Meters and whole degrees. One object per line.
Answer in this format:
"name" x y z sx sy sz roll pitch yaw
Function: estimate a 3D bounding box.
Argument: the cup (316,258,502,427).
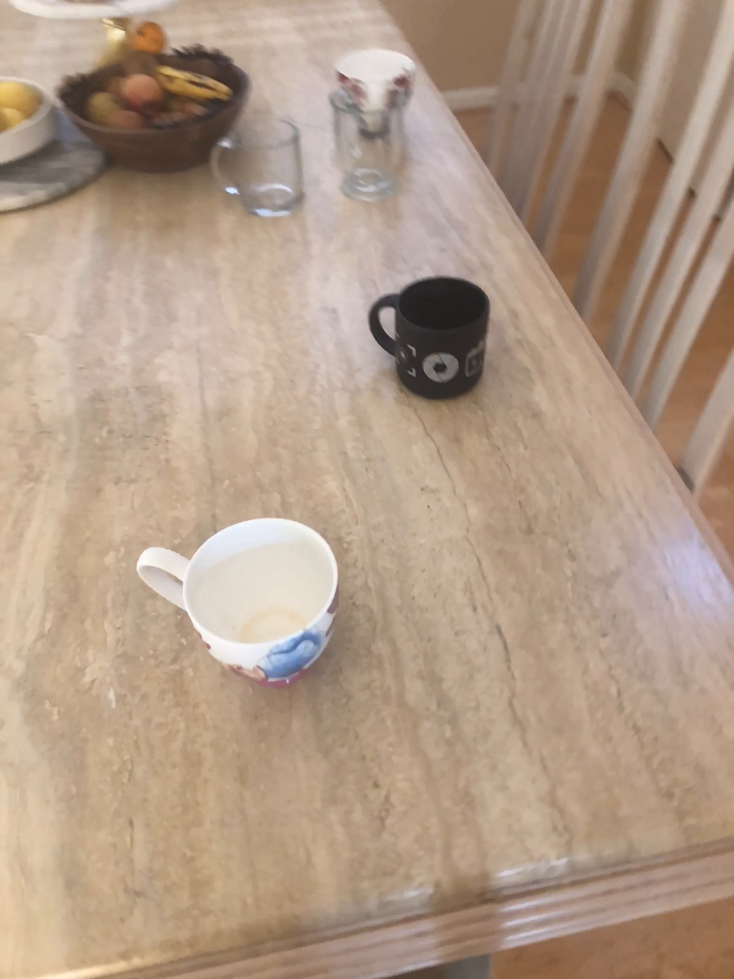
"cup" 0.042 -0.149 0.809 0.150 0.089 0.101 21 52 20

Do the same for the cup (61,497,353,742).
"cup" -0.104 0.089 0.574 0.160 0.089 0.111 10 49 12
